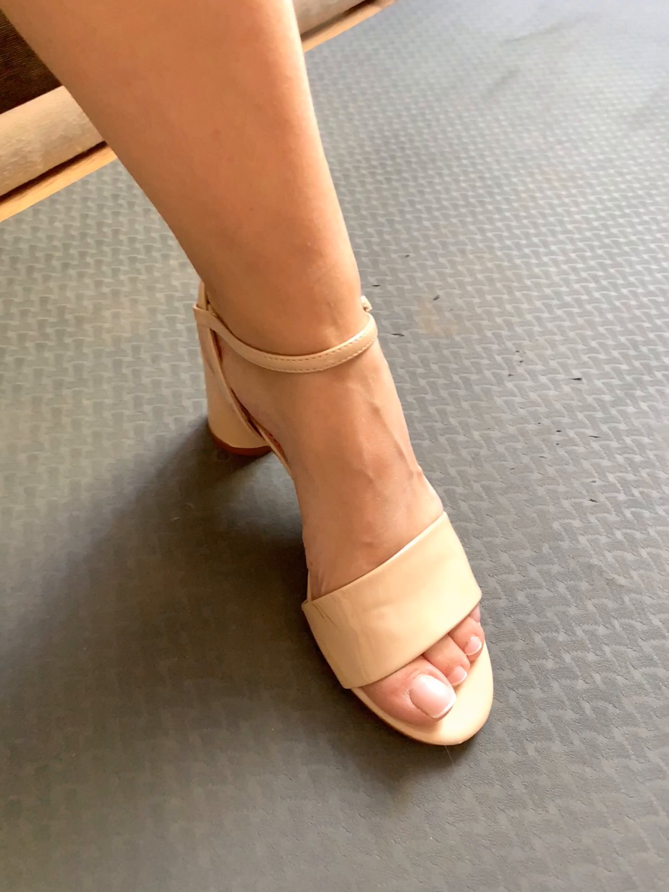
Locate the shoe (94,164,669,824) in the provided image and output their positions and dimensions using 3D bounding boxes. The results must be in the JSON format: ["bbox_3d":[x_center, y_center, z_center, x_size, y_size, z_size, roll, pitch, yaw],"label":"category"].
[{"bbox_3d":[0.000,0.006,0.297,0.090,0.119,0.251,-26,58,-22],"label":"shoe"}]
